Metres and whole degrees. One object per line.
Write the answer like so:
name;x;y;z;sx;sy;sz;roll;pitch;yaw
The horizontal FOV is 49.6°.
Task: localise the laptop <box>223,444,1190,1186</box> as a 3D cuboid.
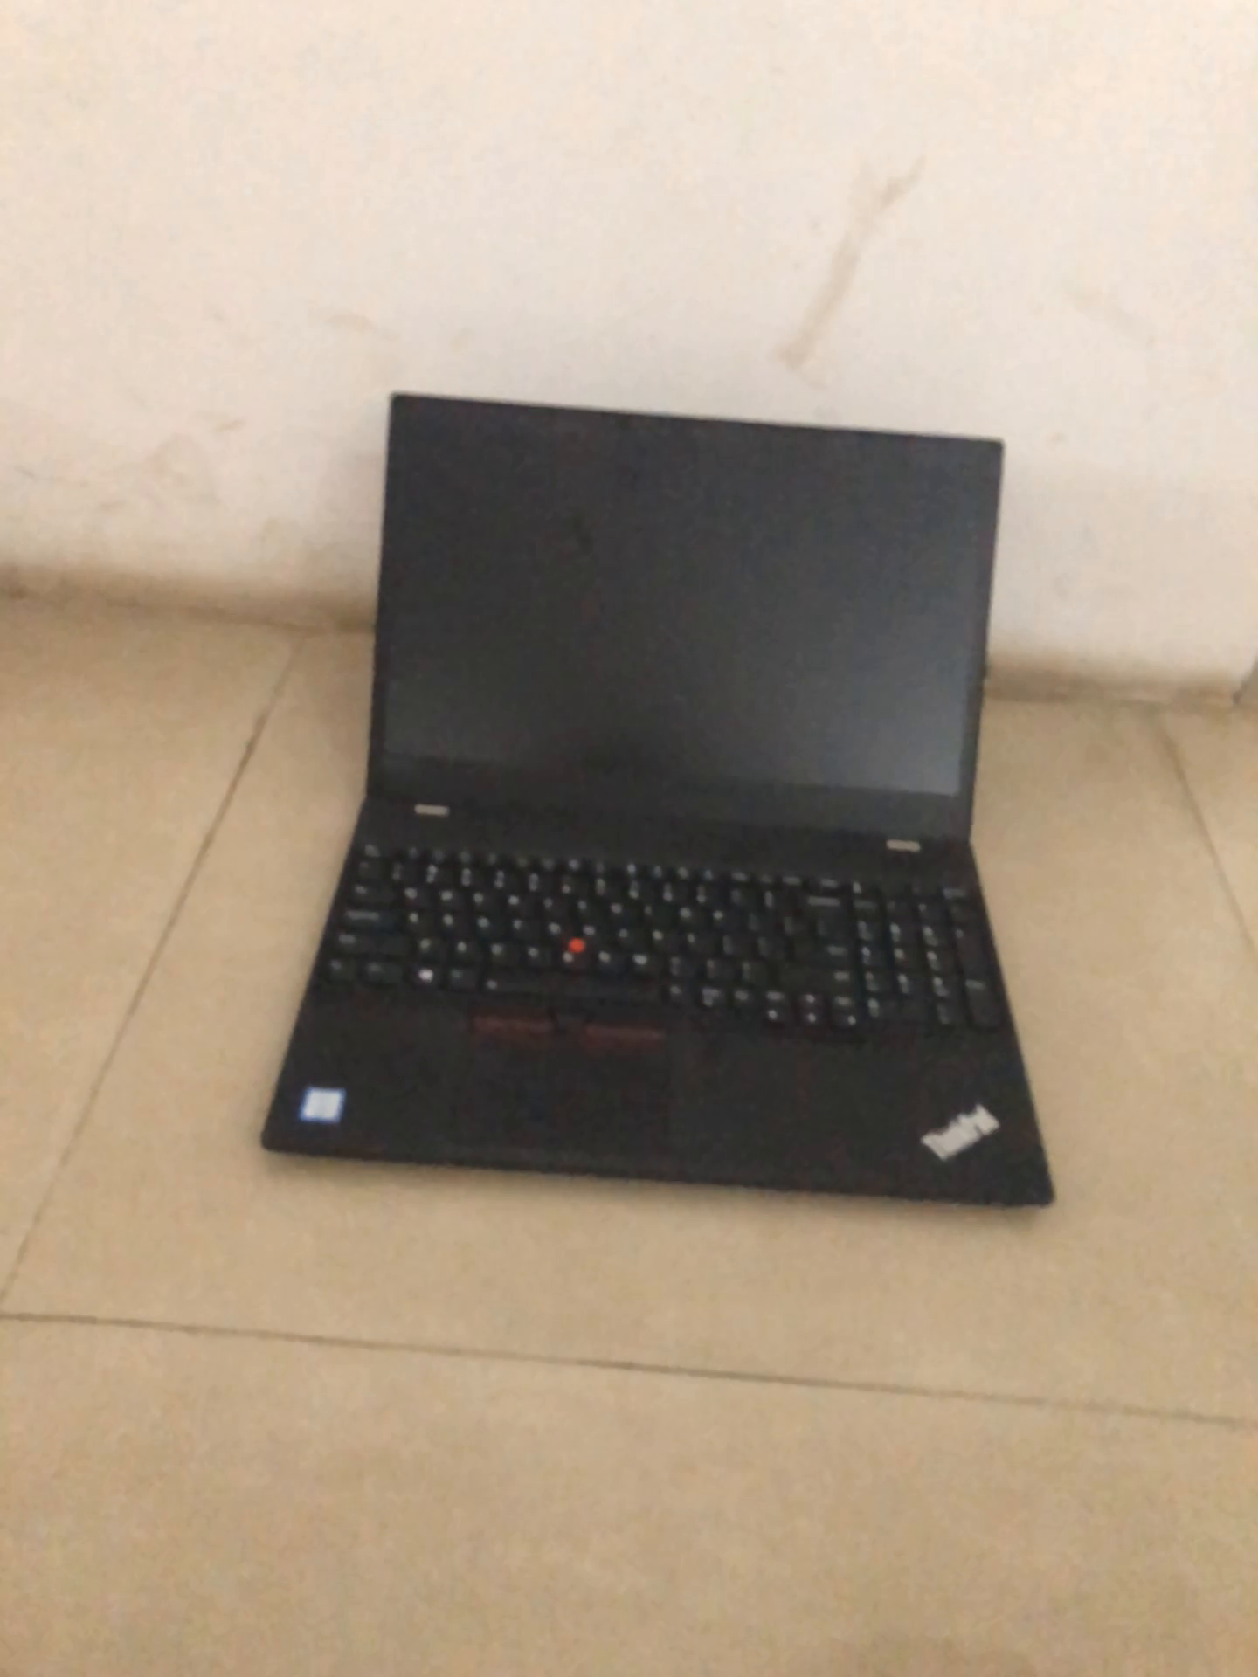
laptop;0.023;-0.034;0.694;0.344;0.192;0.364;5;35;-3
